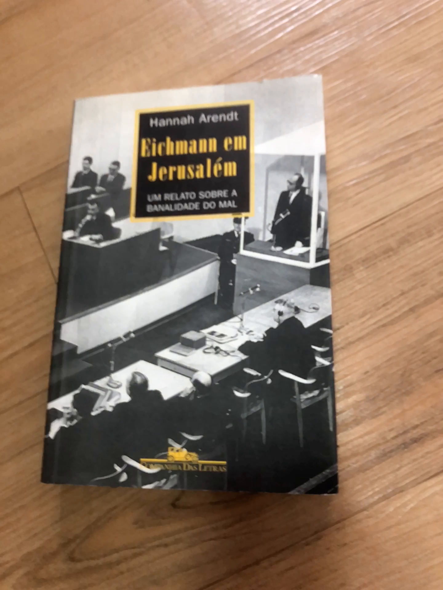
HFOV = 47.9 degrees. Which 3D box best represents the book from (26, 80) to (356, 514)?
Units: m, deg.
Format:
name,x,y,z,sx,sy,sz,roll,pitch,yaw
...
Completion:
name,x,y,z,sx,sy,sz,roll,pitch,yaw
book,-0.014,-0.005,0.248,0.144,0.023,0.203,-2,76,9
